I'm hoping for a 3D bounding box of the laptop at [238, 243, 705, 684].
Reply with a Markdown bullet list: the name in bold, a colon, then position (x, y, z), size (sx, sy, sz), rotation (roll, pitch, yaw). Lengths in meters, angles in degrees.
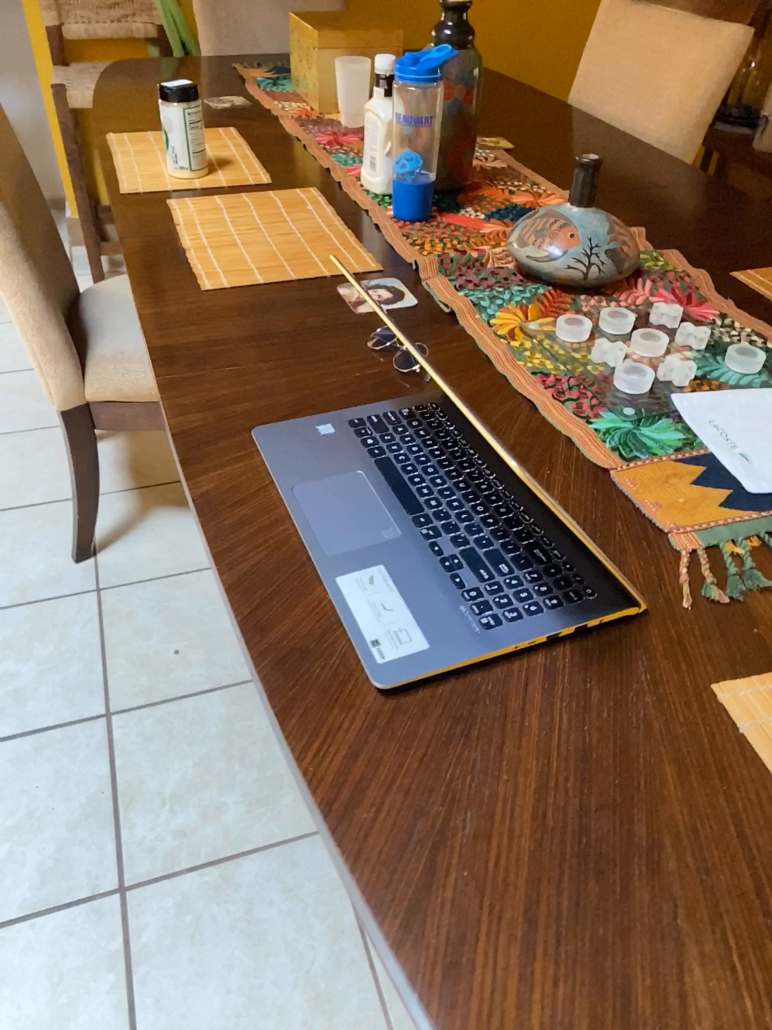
- **laptop**: position (0.042, -0.079, 0.729), size (0.250, 0.180, 0.378), rotation (-14, 43, -19)
